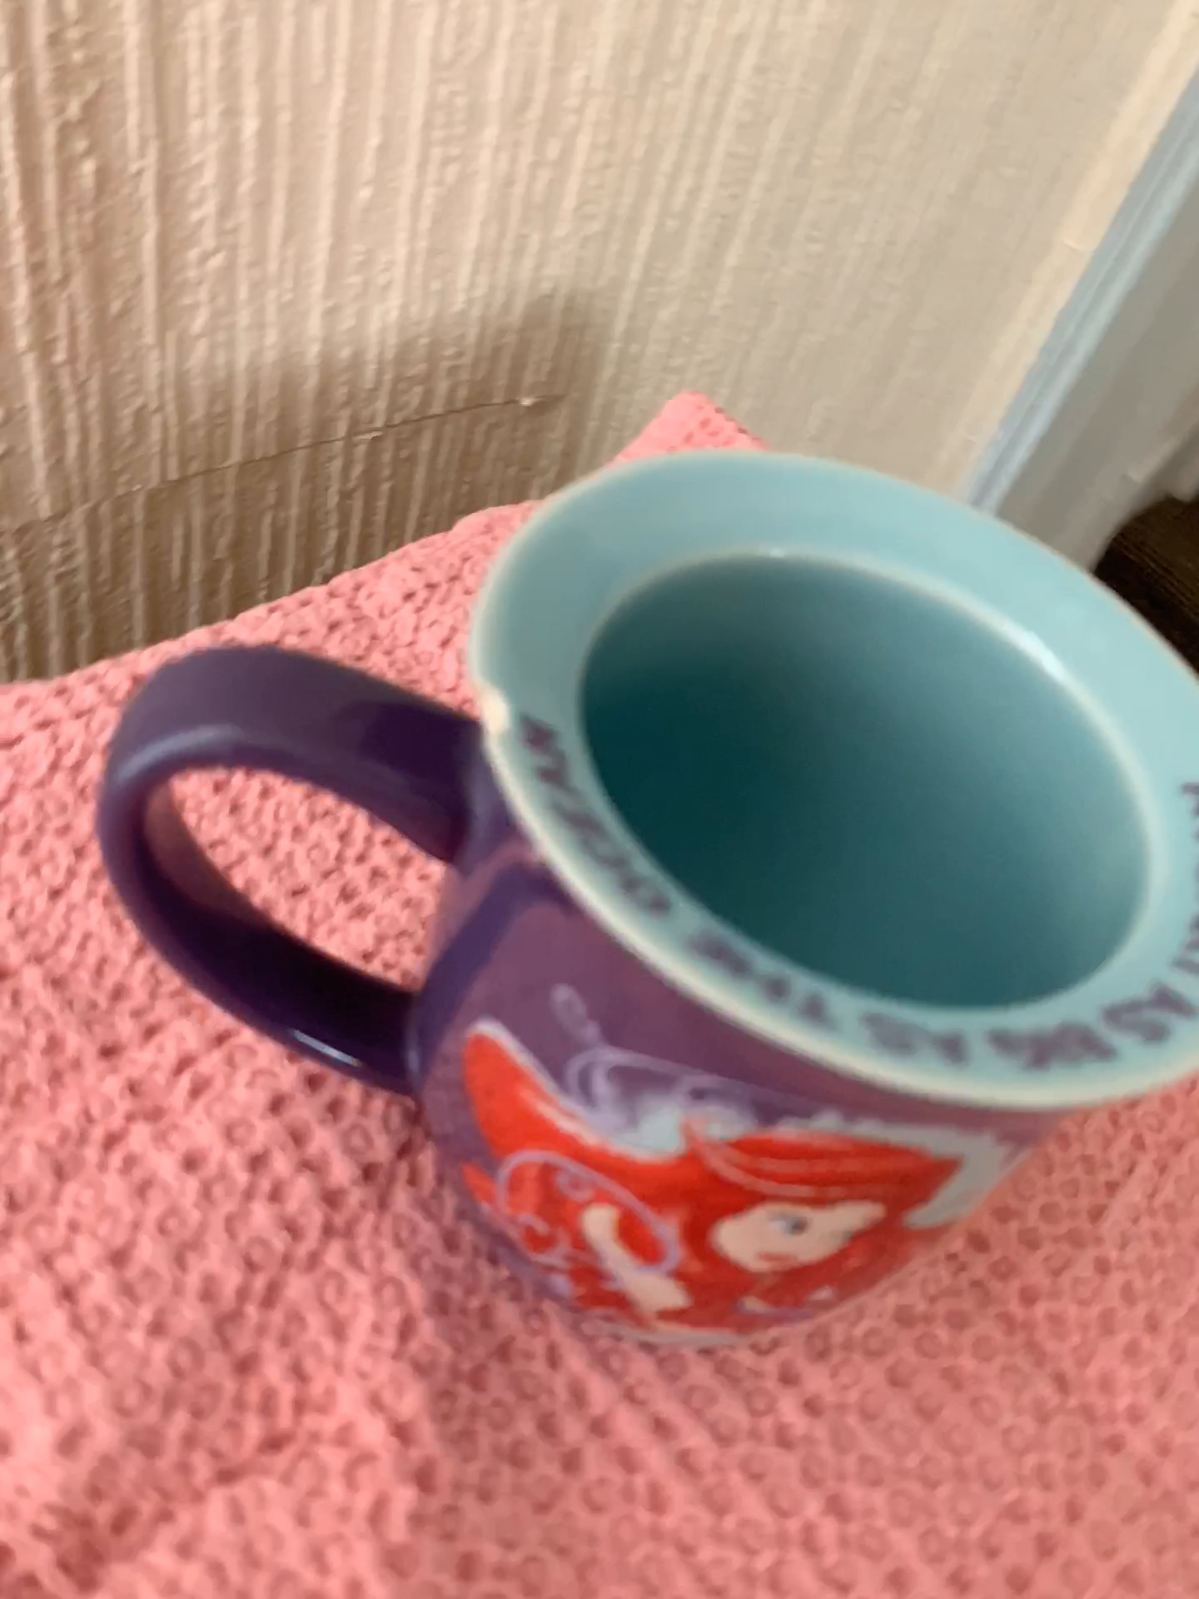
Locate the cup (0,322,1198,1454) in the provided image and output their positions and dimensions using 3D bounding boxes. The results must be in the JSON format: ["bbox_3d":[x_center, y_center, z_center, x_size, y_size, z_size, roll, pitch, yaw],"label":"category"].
[{"bbox_3d":[0.006,0.020,0.174,0.140,0.099,0.101,10,48,-10],"label":"cup"}]
